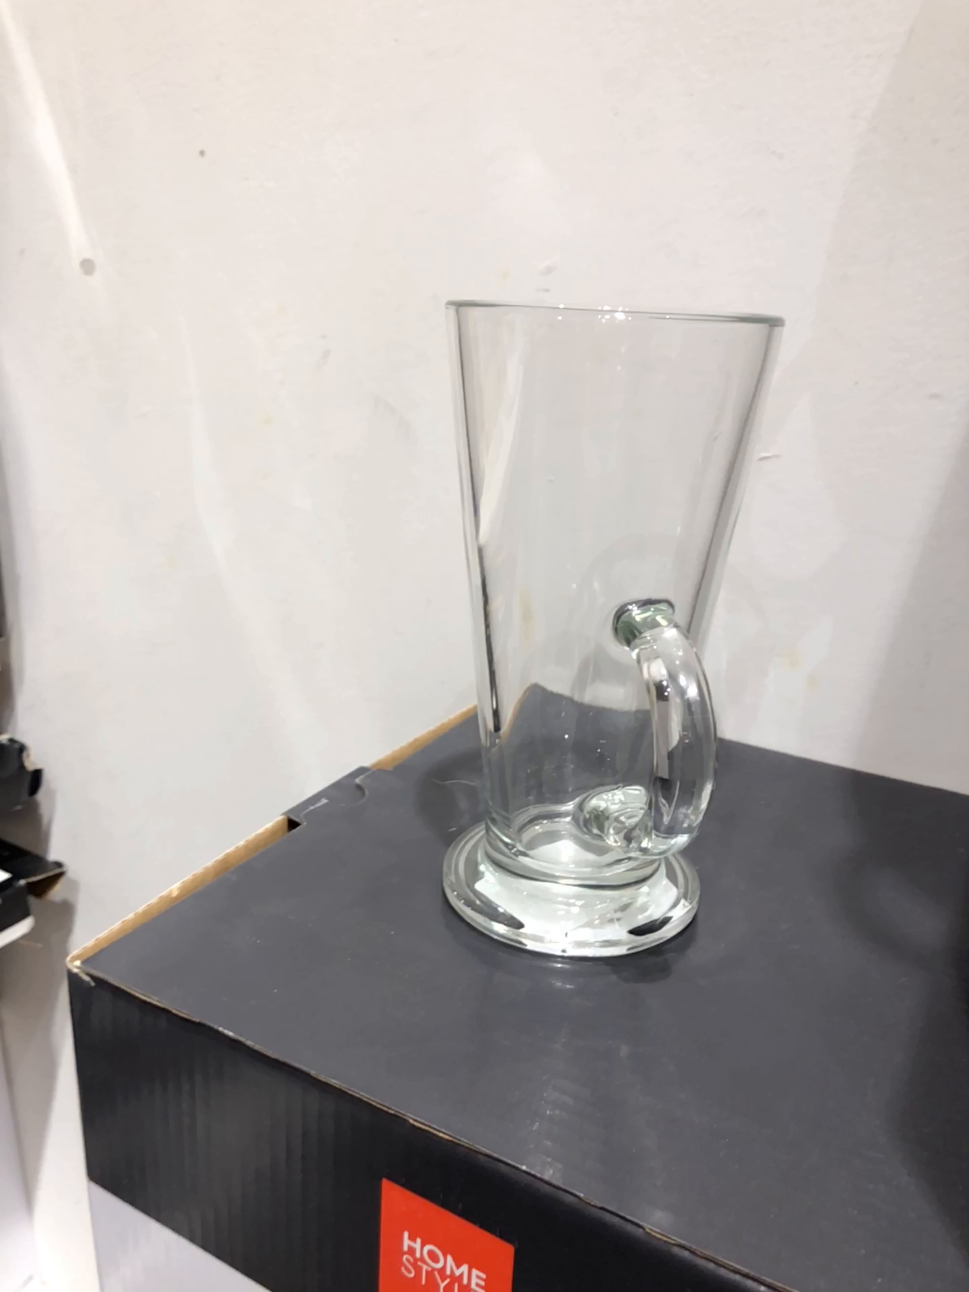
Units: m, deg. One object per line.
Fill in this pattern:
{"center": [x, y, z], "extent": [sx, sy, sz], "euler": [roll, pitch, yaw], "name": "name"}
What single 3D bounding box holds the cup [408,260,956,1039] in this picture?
{"center": [0.033, -0.009, 0.248], "extent": [0.080, 0.149, 0.090], "euler": [-5, 20, -17], "name": "cup"}
